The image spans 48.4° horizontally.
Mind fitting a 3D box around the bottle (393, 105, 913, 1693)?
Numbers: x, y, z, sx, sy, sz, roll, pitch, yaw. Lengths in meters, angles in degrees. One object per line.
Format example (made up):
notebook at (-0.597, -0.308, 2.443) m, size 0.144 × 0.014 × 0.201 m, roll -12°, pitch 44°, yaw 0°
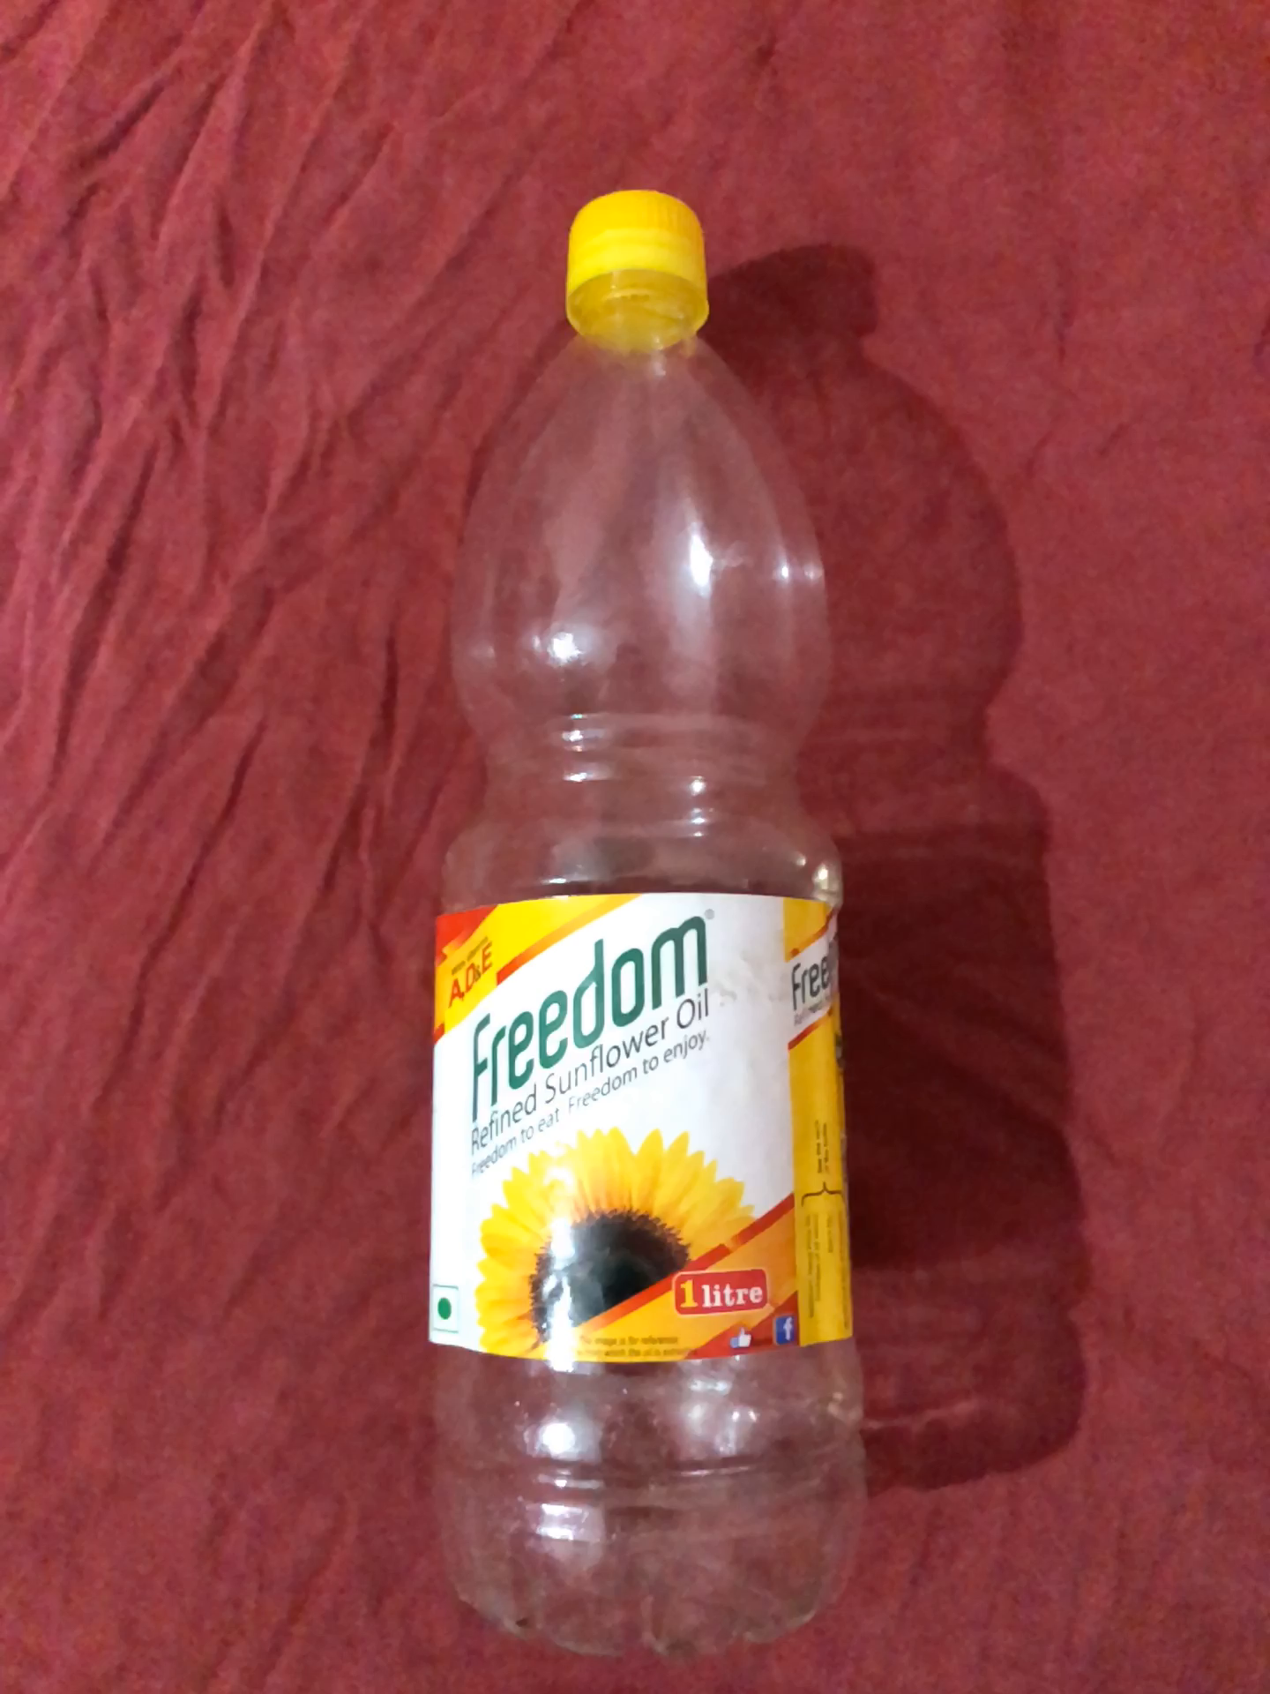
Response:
bottle at (0.002, 0.005, 0.265) m, size 0.080 × 0.060 × 0.270 m, roll 0°, pitch 82°, yaw 0°
